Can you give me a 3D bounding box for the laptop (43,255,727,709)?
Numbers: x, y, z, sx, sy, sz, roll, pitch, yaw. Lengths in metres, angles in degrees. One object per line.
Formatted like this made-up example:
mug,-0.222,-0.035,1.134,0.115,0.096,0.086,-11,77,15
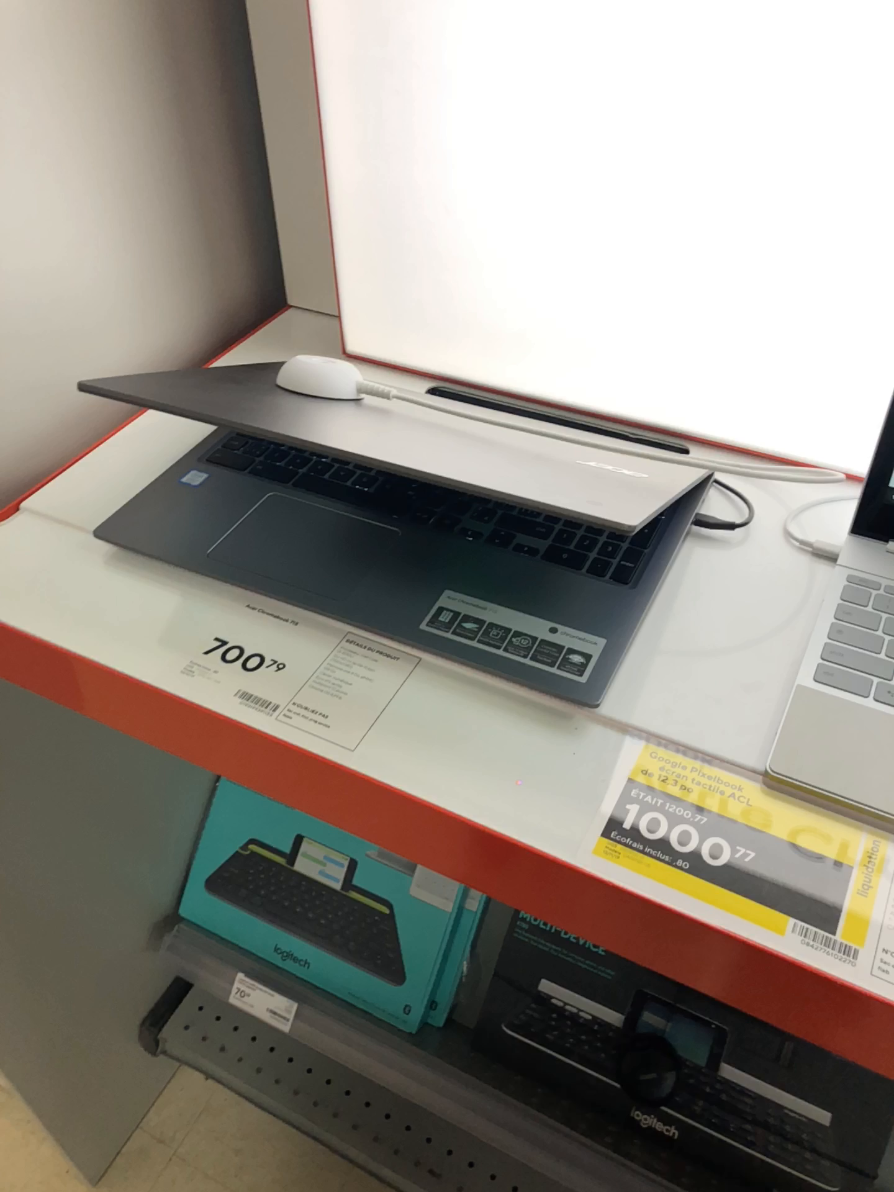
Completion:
laptop,-0.031,-0.100,0.644,0.356,0.105,0.236,18,45,20
